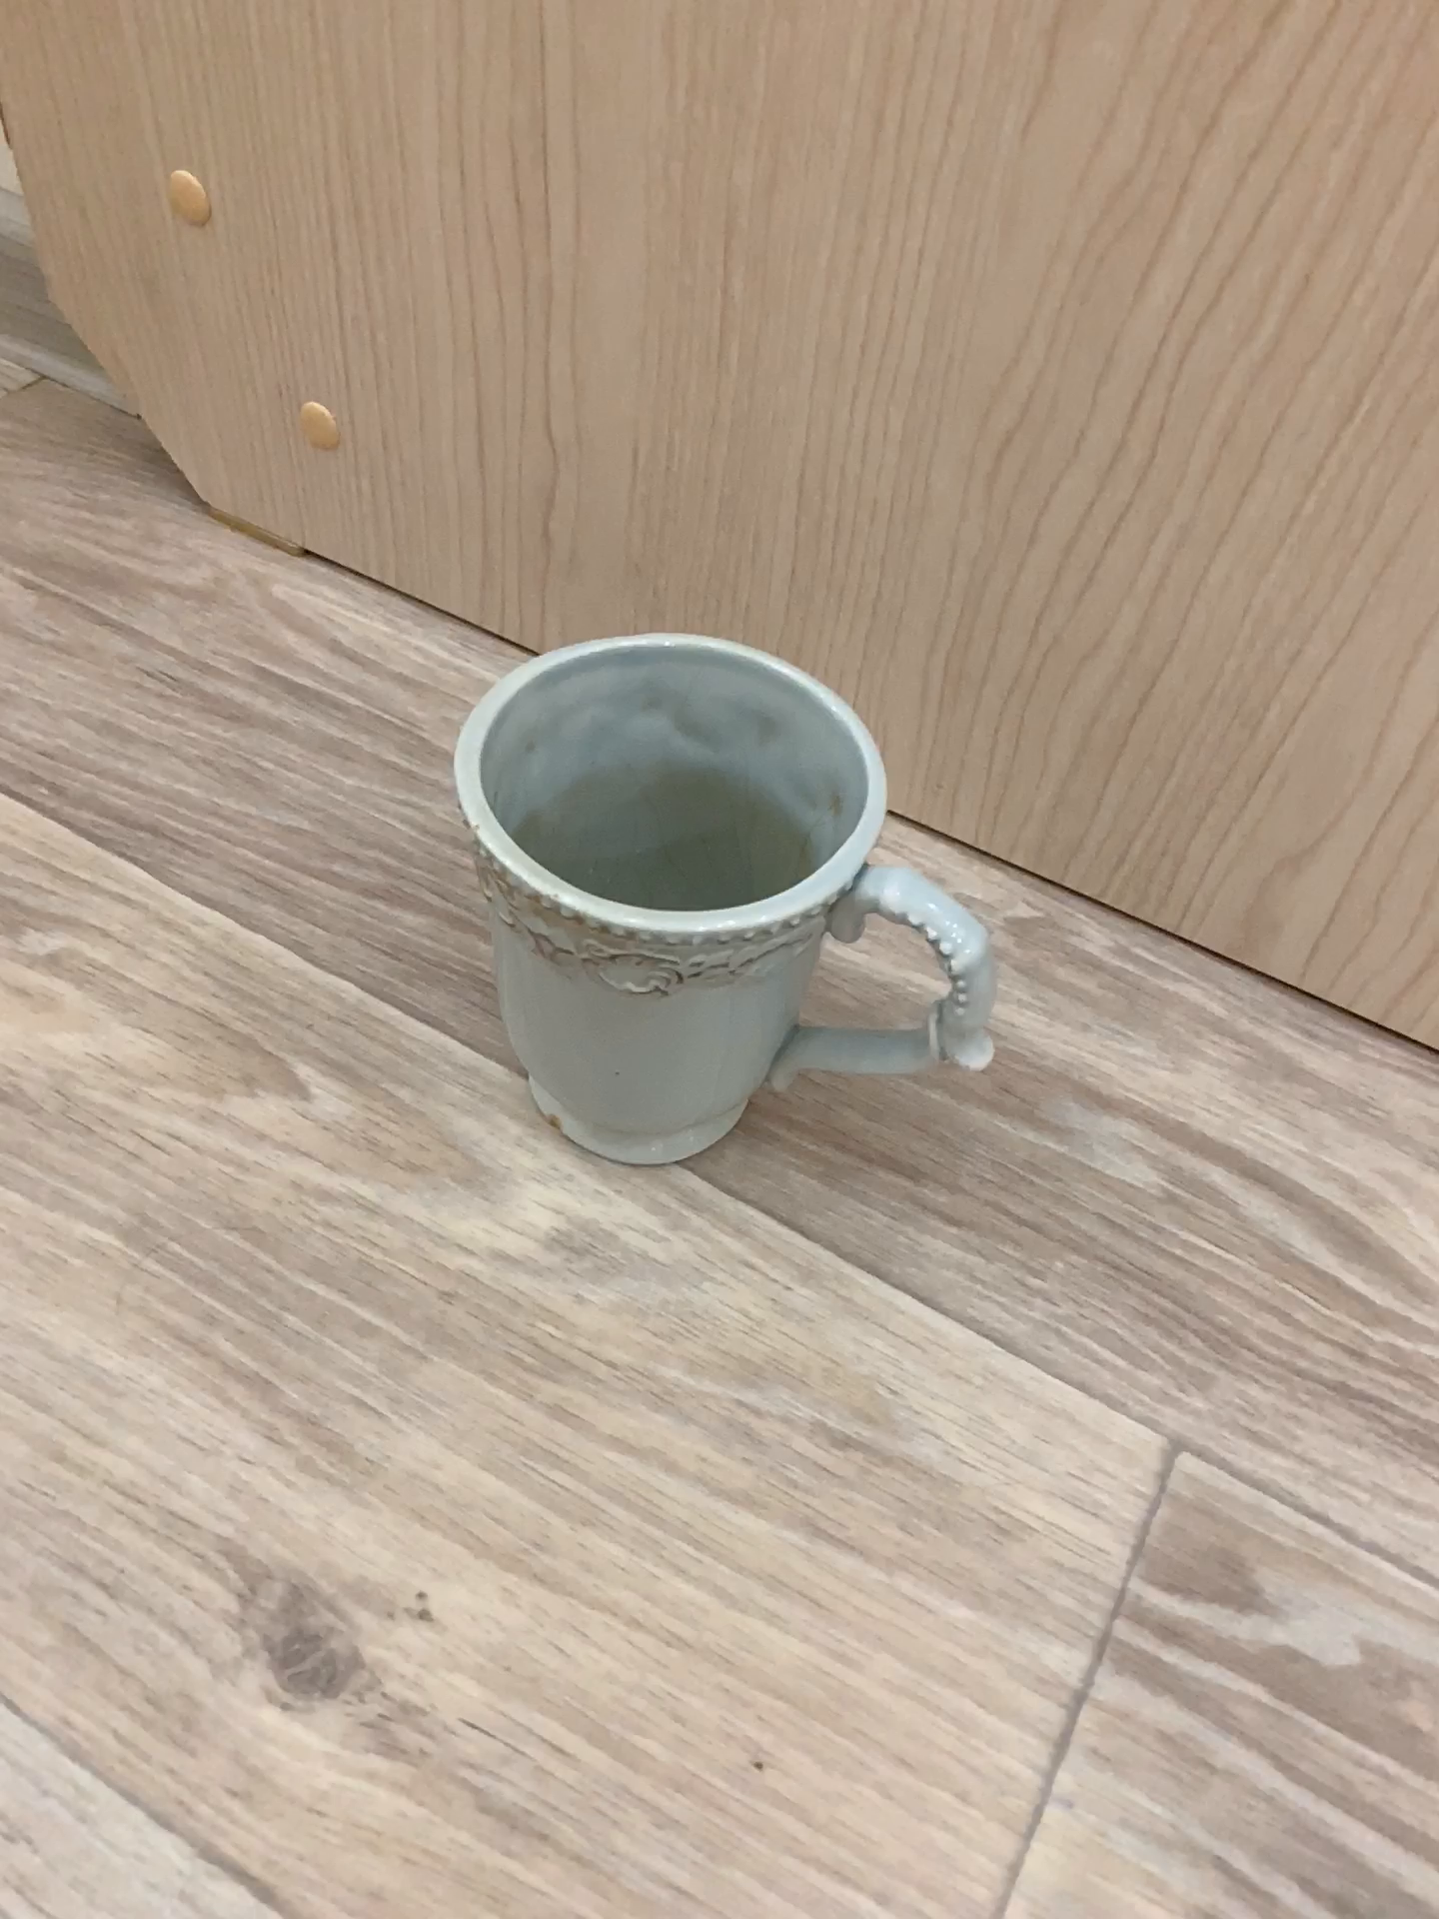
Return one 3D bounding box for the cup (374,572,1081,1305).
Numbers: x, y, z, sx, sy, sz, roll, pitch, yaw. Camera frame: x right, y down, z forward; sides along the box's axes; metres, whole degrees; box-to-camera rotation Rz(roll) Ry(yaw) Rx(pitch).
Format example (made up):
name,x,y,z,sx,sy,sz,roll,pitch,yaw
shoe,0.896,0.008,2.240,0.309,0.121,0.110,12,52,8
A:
name,x,y,z,sx,sy,sz,roll,pitch,yaw
cup,0.000,-0.004,0.333,0.118,0.102,0.083,22,50,11
